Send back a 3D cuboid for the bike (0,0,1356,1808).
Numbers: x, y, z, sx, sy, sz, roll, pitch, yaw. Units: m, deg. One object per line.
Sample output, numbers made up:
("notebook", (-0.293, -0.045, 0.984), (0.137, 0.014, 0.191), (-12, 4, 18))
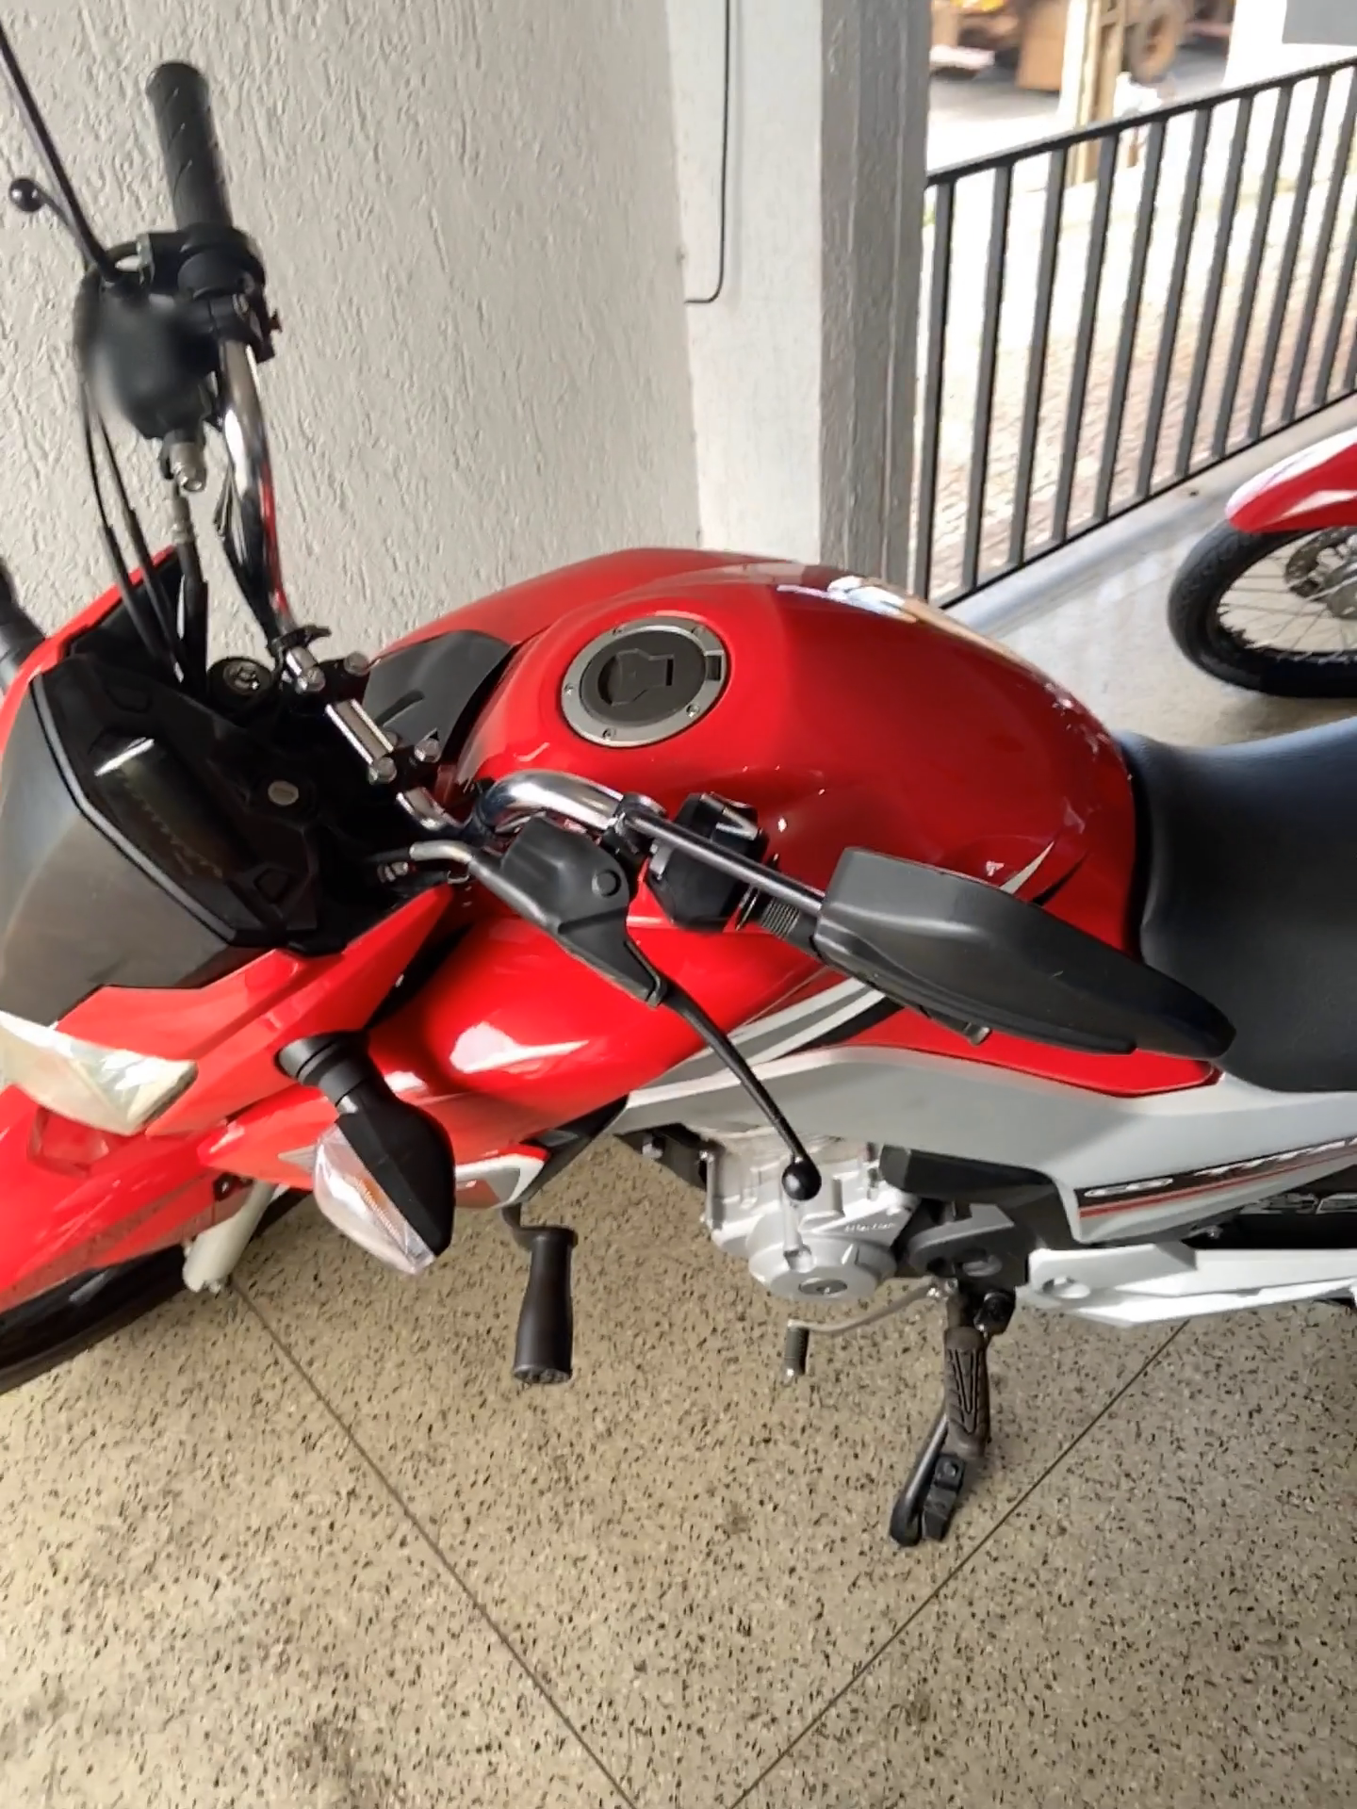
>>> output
("bike", (0.191, 0.224, 1.073), (1.990, 1.421, 0.873), (-8, 37, 0))
